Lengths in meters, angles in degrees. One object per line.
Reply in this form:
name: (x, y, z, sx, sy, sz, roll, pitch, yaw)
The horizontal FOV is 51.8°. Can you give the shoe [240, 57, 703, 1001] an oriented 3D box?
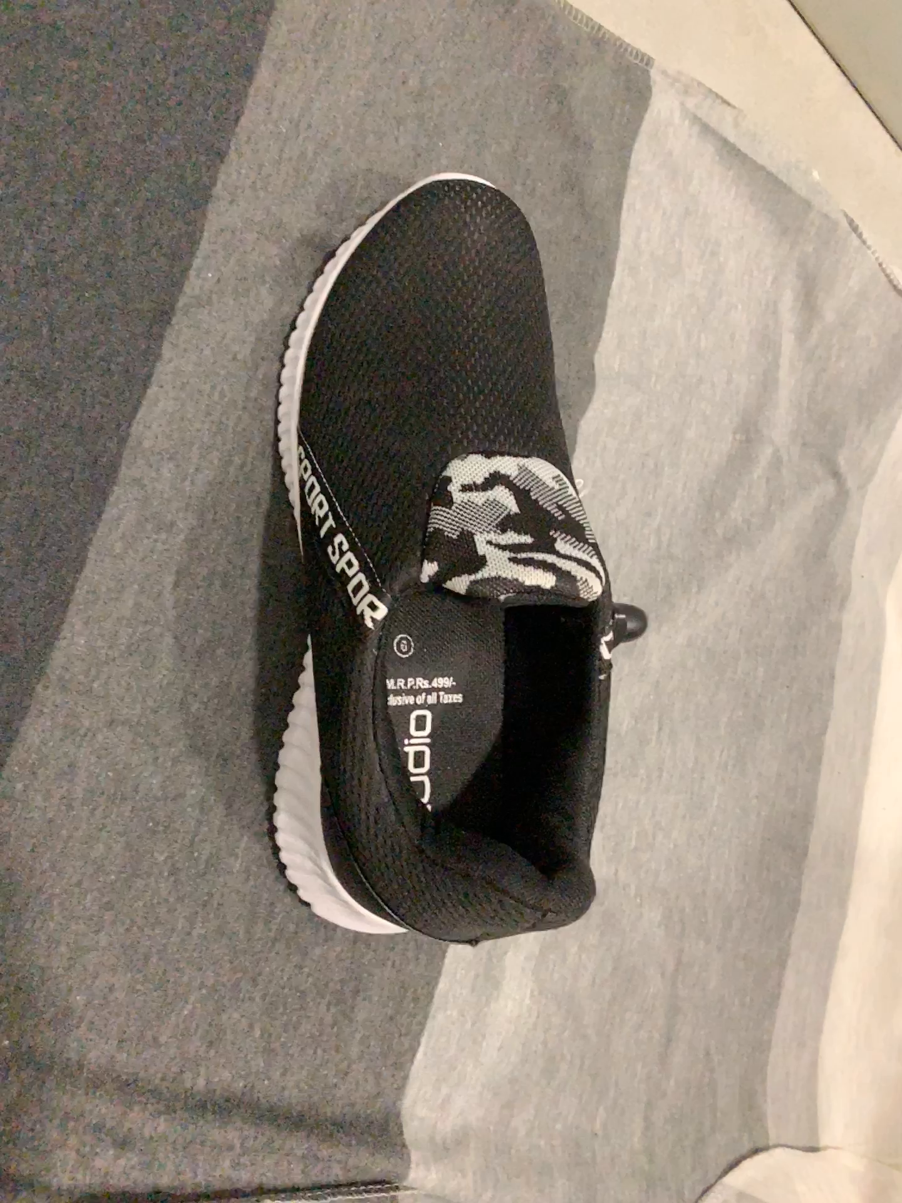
shoe: (0.004, -0.016, 0.300, 0.100, 0.100, 0.240, 6, 84, -28)
